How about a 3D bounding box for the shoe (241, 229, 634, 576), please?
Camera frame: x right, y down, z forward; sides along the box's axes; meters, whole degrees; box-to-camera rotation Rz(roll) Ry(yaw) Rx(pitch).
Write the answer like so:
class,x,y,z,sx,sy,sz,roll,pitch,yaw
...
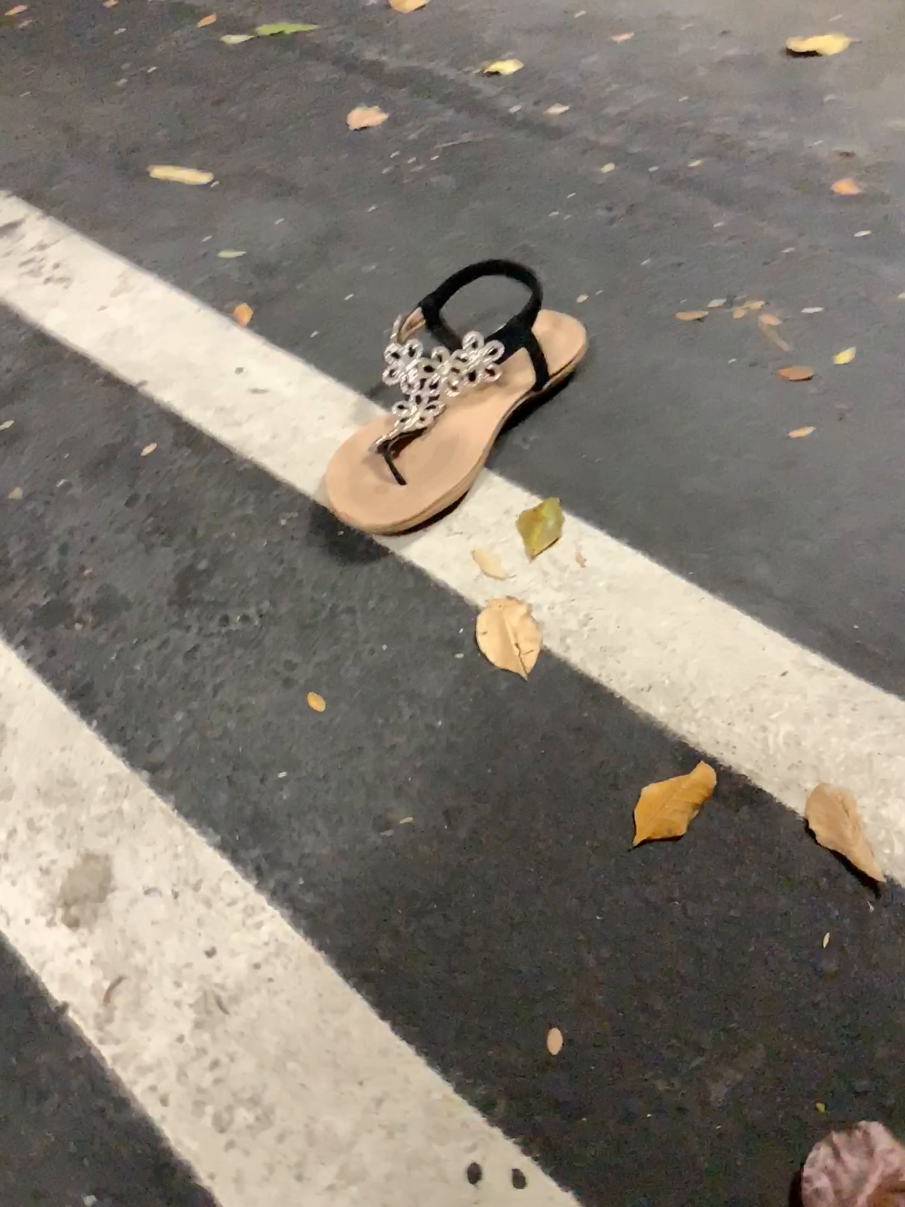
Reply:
class,x,y,z,sx,sy,sz,roll,pitch,yaw
shoe,0.000,-0.144,0.662,0.120,0.060,0.260,28,56,23
